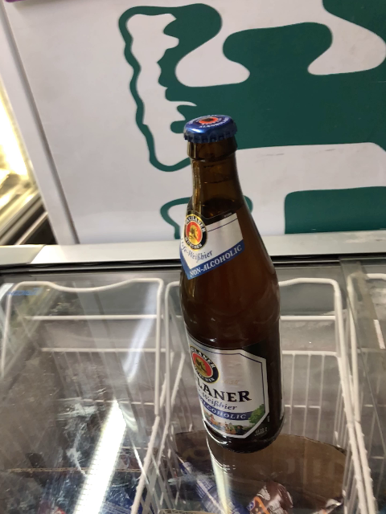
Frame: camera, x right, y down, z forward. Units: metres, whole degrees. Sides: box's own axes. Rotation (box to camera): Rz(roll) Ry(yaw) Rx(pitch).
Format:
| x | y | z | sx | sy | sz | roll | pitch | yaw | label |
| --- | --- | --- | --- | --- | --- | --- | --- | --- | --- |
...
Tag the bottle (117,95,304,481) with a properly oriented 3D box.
| x | y | z | sx | sy | sz | roll | pitch | yaw | label |
| --- | --- | --- | --- | --- | --- | --- | --- | --- | --- |
| 0.023 | 0.031 | 0.272 | 0.060 | 0.238 | 0.070 | -30 | 38 | -28 | bottle |
